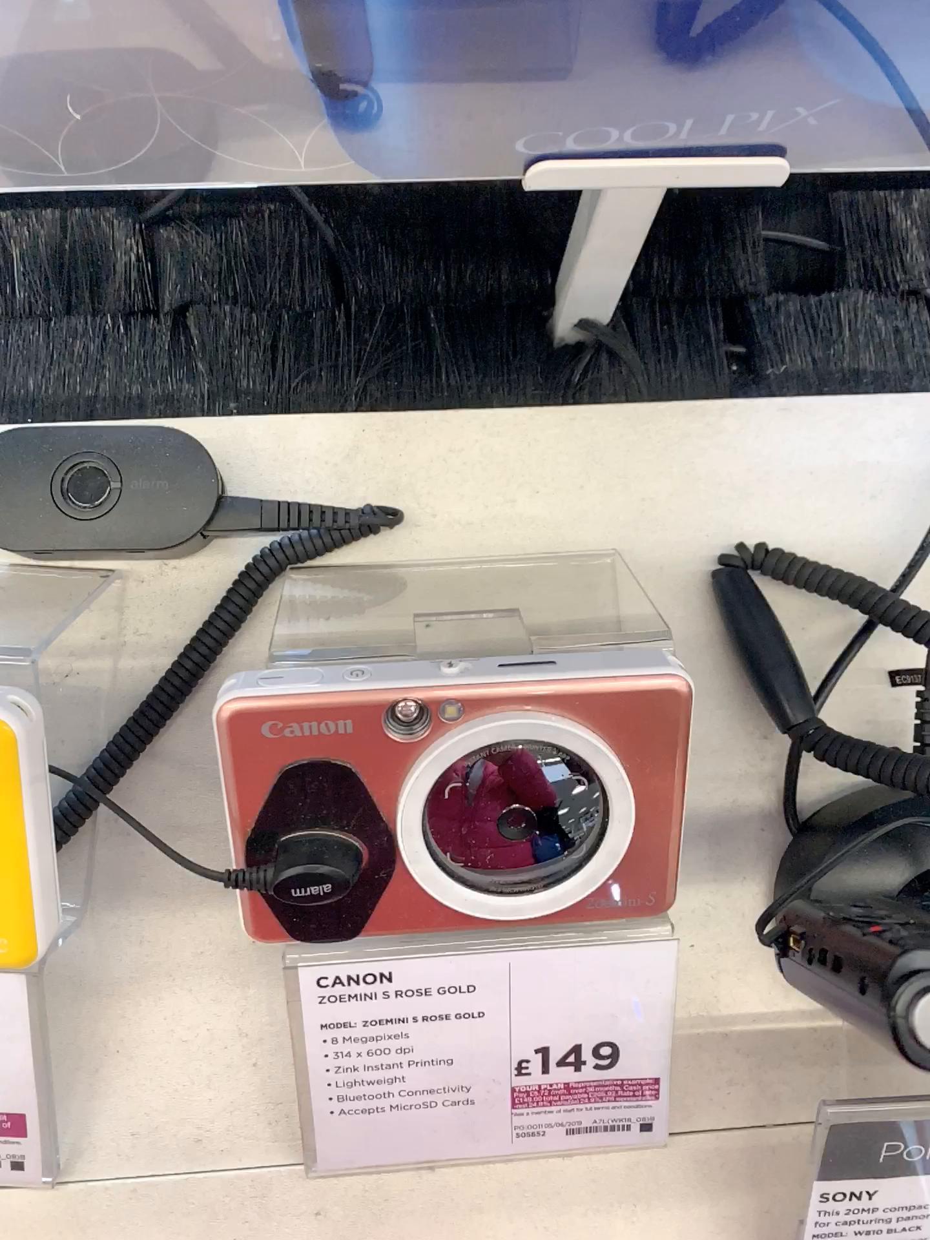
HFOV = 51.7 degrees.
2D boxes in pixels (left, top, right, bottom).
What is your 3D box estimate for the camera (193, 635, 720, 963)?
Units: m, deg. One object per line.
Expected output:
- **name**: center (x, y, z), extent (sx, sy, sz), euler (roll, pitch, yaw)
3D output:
- **camera**: center (-0.001, 0.049, 0.259), extent (0.129, 0.020, 0.083), euler (-3, 113, -4)
